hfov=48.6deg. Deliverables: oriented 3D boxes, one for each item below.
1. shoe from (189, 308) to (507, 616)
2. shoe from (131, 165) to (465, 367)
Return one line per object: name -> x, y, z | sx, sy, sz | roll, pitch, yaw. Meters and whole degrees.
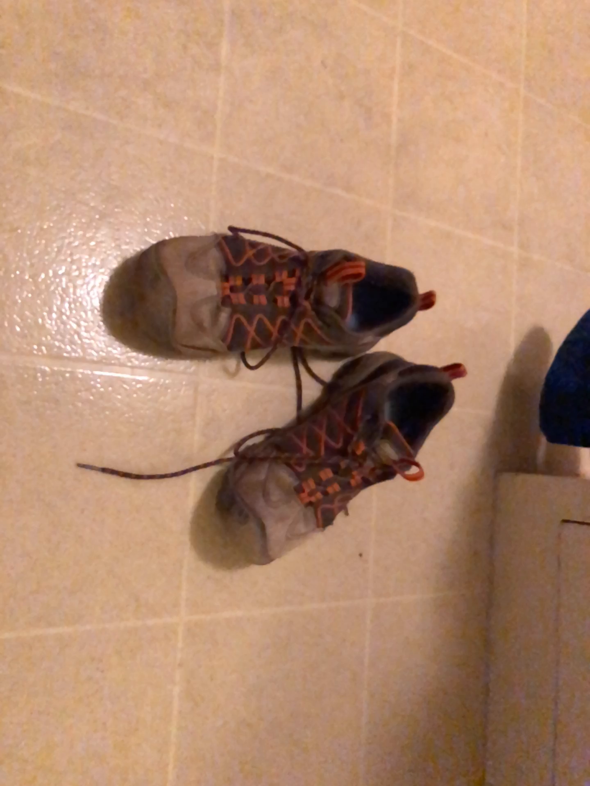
shoe -> 0.059, 0.054, 0.647 | 0.283, 0.122, 0.127 | -42, 110, -26
shoe -> 0.010, -0.100, 0.616 | 0.293, 0.122, 0.127 | 3, 87, -32
